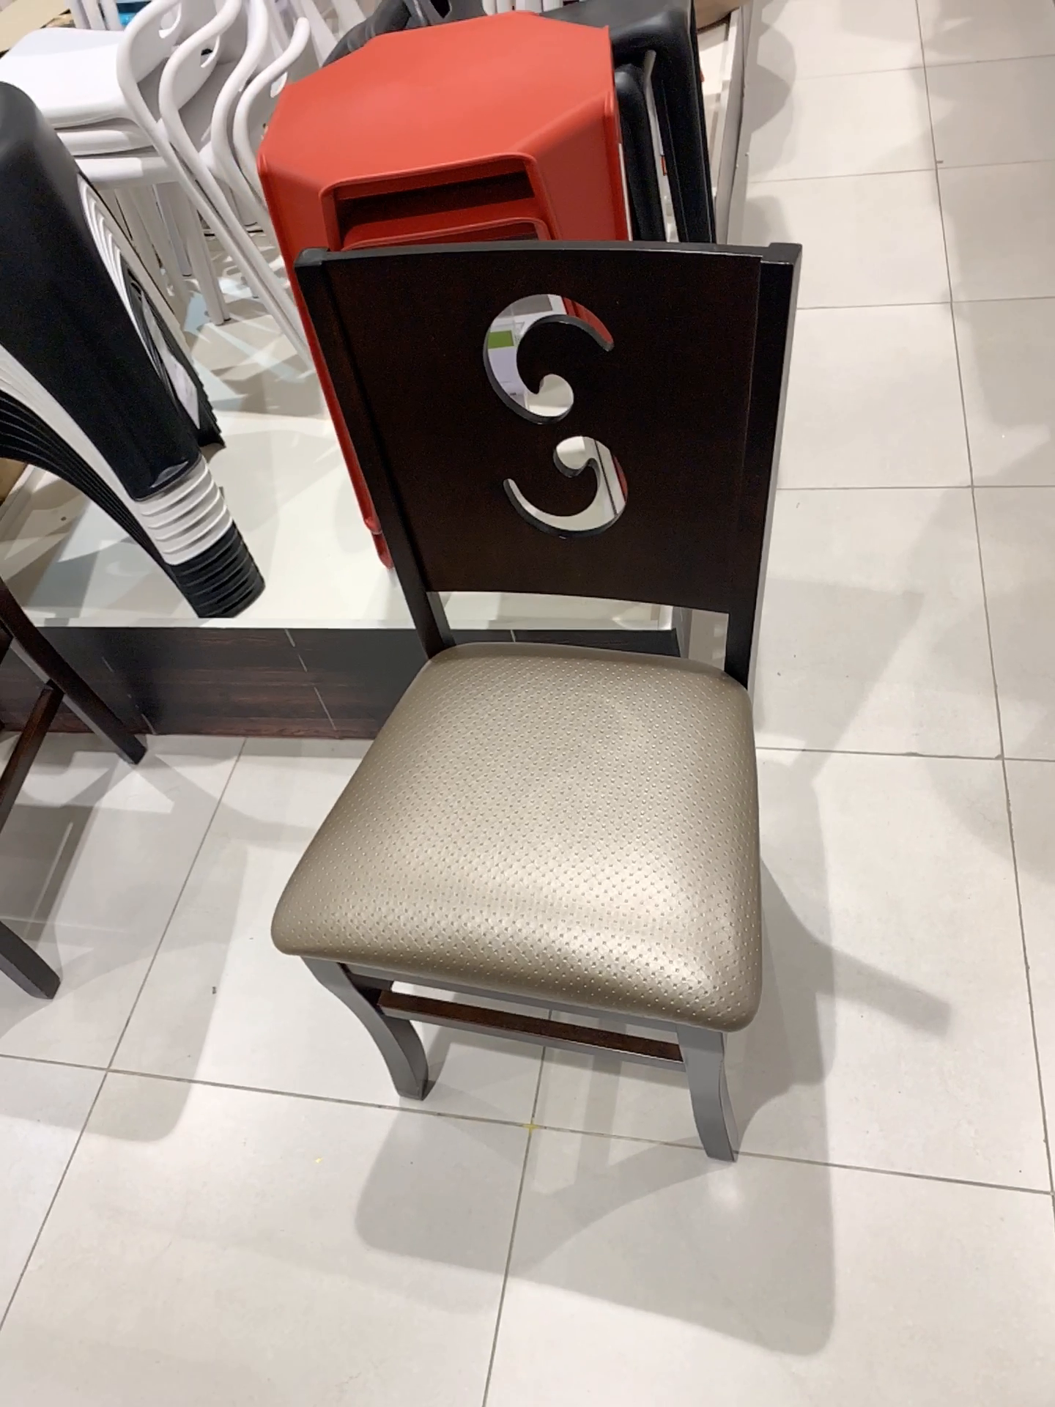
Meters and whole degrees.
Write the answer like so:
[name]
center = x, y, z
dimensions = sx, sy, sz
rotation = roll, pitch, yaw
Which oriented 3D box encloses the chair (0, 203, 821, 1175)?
[chair]
center = 0.007, 0.042, 1.107
dimensions = 0.500, 0.847, 0.521
rotation = 4, 51, 14
